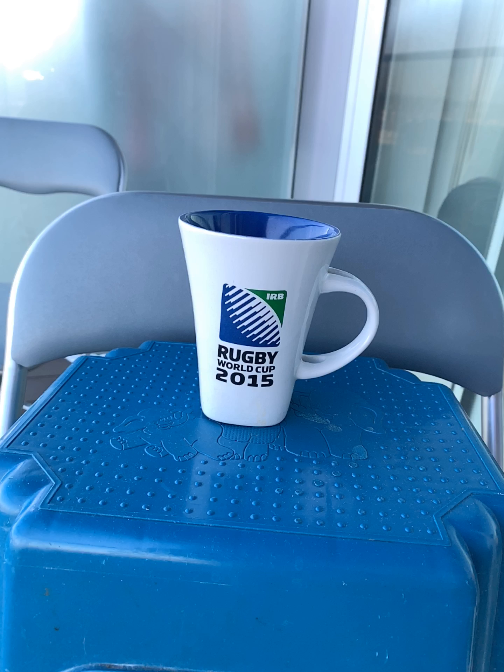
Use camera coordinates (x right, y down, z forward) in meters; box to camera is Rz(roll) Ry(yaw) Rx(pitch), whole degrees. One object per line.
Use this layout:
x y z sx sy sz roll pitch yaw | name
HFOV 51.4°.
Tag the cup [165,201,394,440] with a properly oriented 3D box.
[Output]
0.011 -0.013 0.301 0.107 0.105 0.083 4 23 1 | cup
